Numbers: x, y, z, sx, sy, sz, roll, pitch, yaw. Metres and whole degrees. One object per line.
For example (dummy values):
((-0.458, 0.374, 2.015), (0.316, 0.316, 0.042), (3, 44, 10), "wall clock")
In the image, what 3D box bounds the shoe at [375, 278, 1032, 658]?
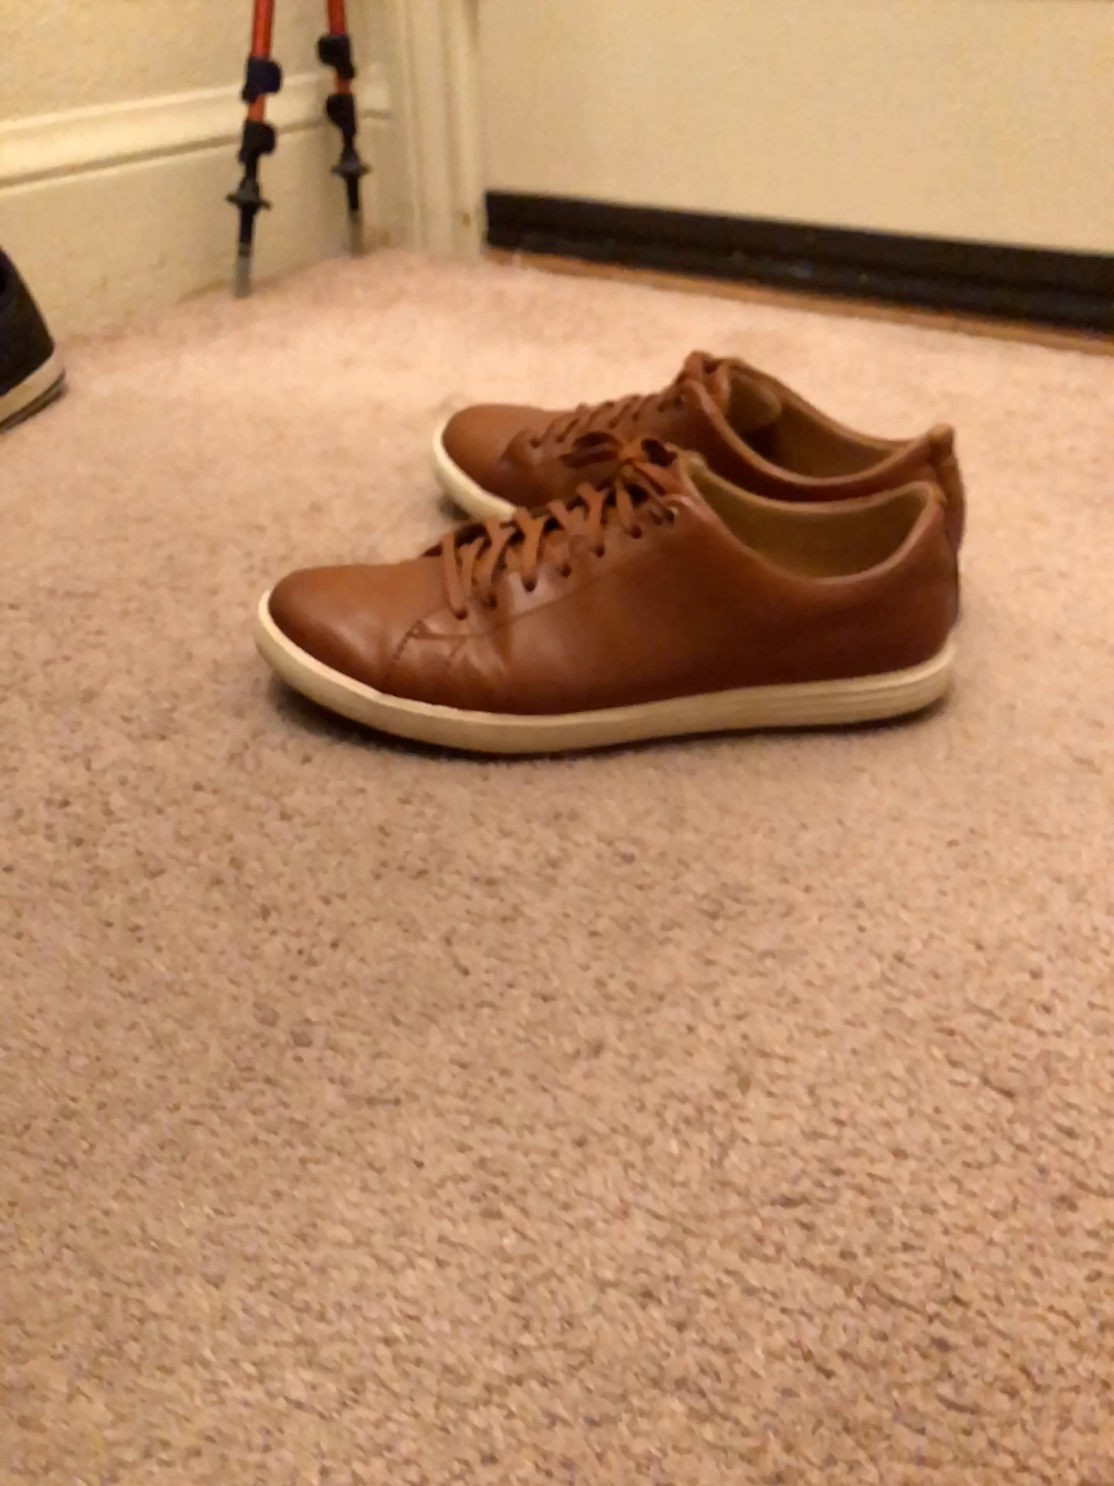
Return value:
((0.065, -0.147, 0.615), (0.285, 0.102, 0.118), (17, 38, 25), "shoe")

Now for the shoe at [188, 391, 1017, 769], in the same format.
((0.016, -0.069, 0.503), (0.285, 0.100, 0.118), (-2, 34, -1), "shoe")
